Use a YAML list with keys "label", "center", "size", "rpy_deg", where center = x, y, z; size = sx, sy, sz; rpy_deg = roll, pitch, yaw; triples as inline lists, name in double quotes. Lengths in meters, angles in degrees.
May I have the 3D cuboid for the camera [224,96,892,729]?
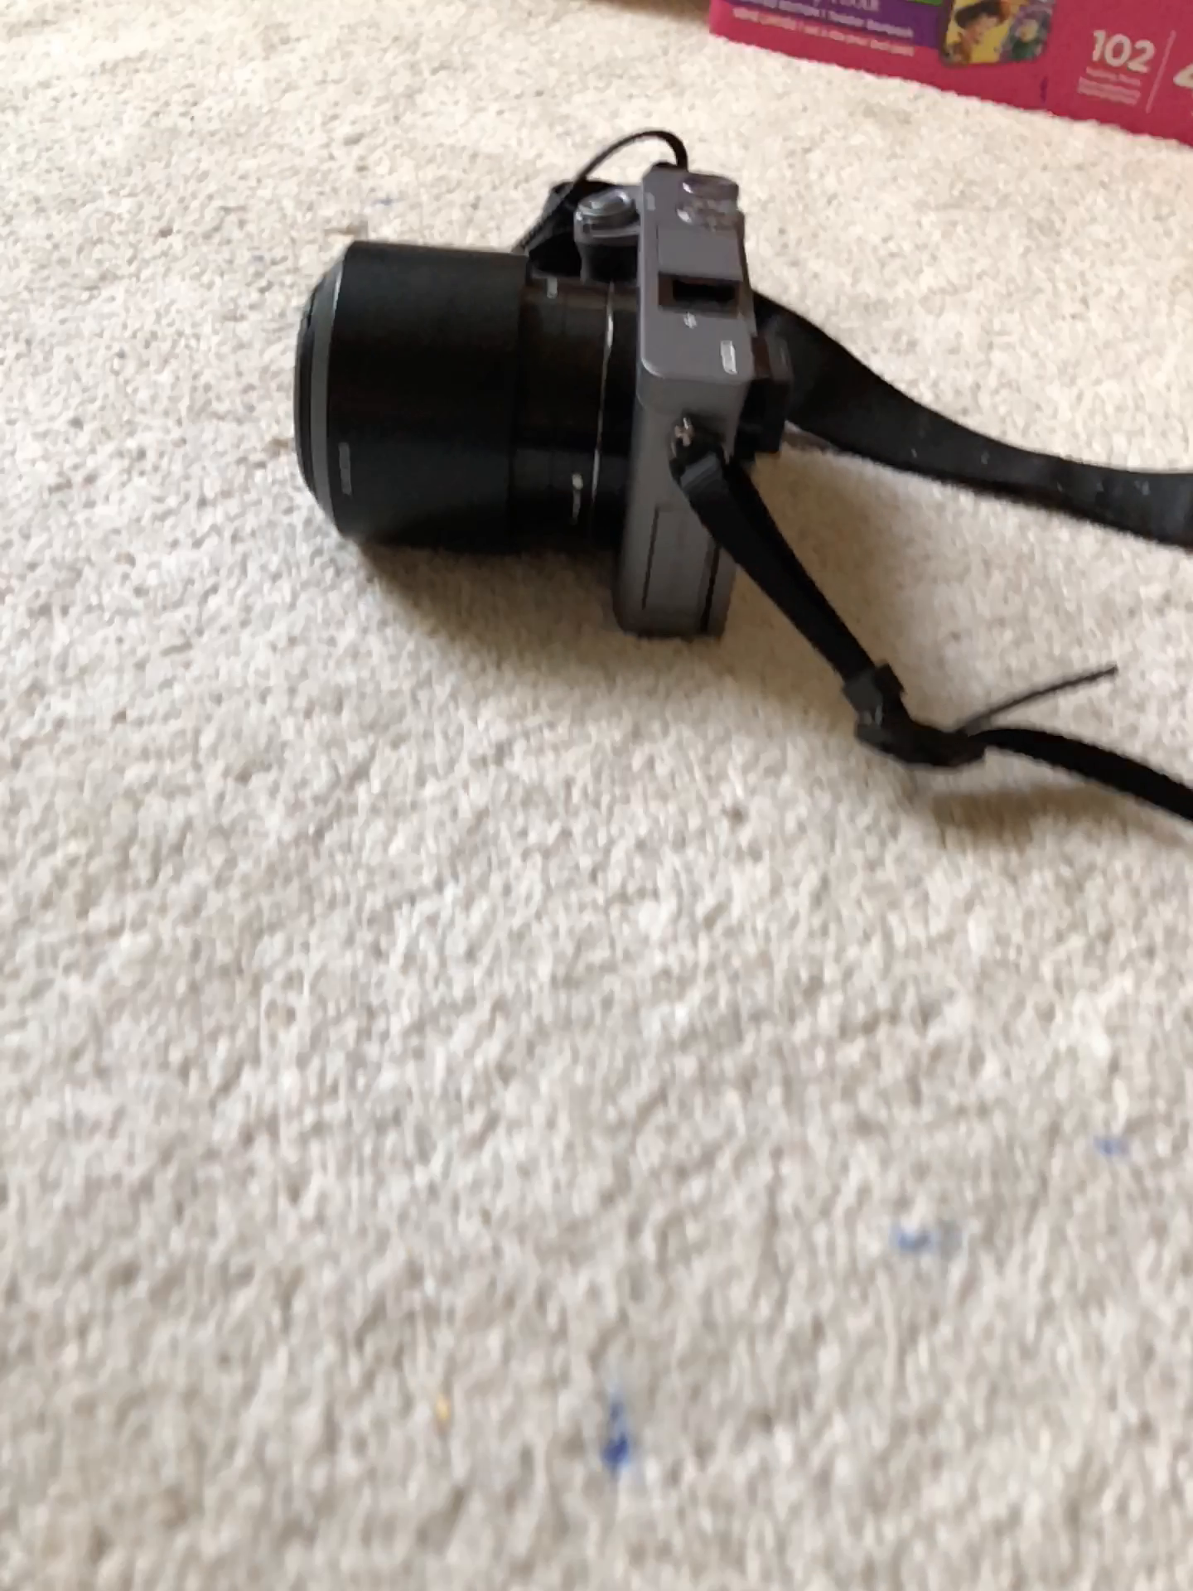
- label: "camera"
  center: [-0.009, -0.090, 0.294]
  size: [0.110, 0.070, 0.141]
  rpy_deg: [4, 43, -4]
